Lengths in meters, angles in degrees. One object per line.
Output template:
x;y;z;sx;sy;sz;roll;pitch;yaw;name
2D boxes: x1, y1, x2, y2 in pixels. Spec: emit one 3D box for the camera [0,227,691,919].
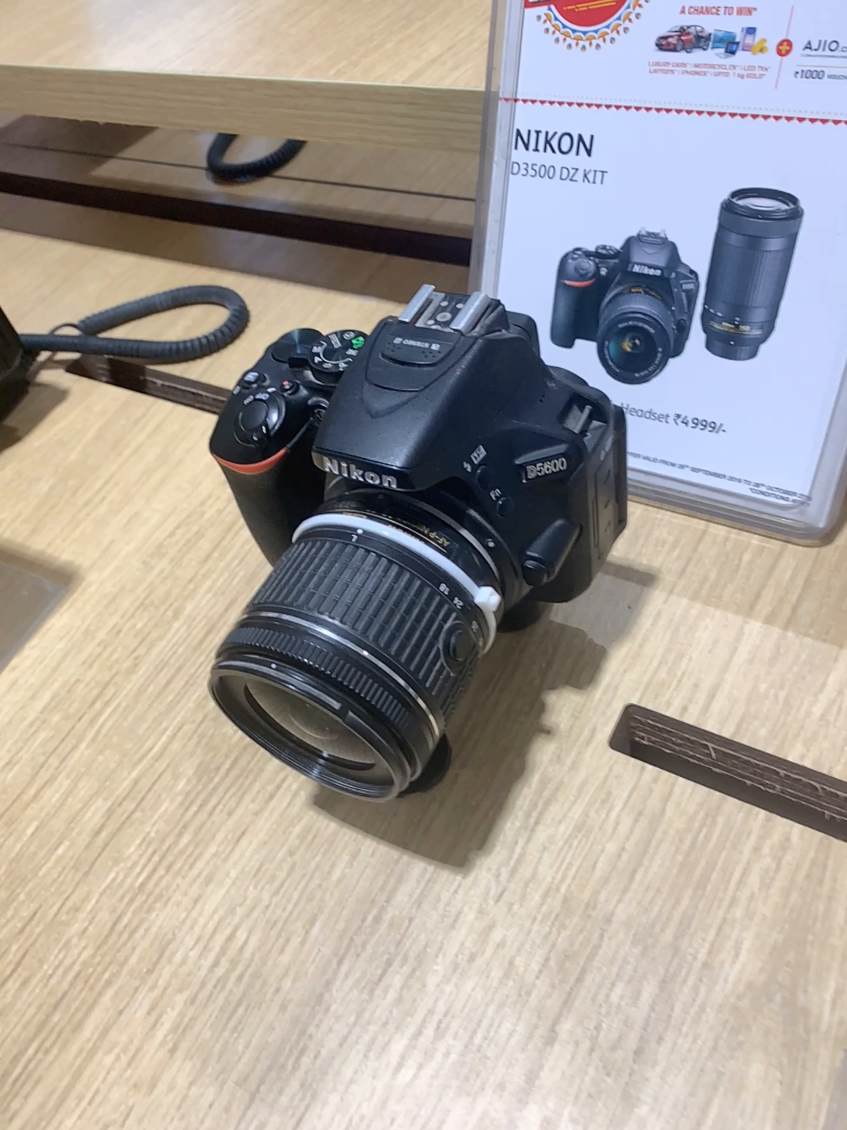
-0.015;-0.006;0.236;0.130;0.100;0.120;18;57;26;camera
